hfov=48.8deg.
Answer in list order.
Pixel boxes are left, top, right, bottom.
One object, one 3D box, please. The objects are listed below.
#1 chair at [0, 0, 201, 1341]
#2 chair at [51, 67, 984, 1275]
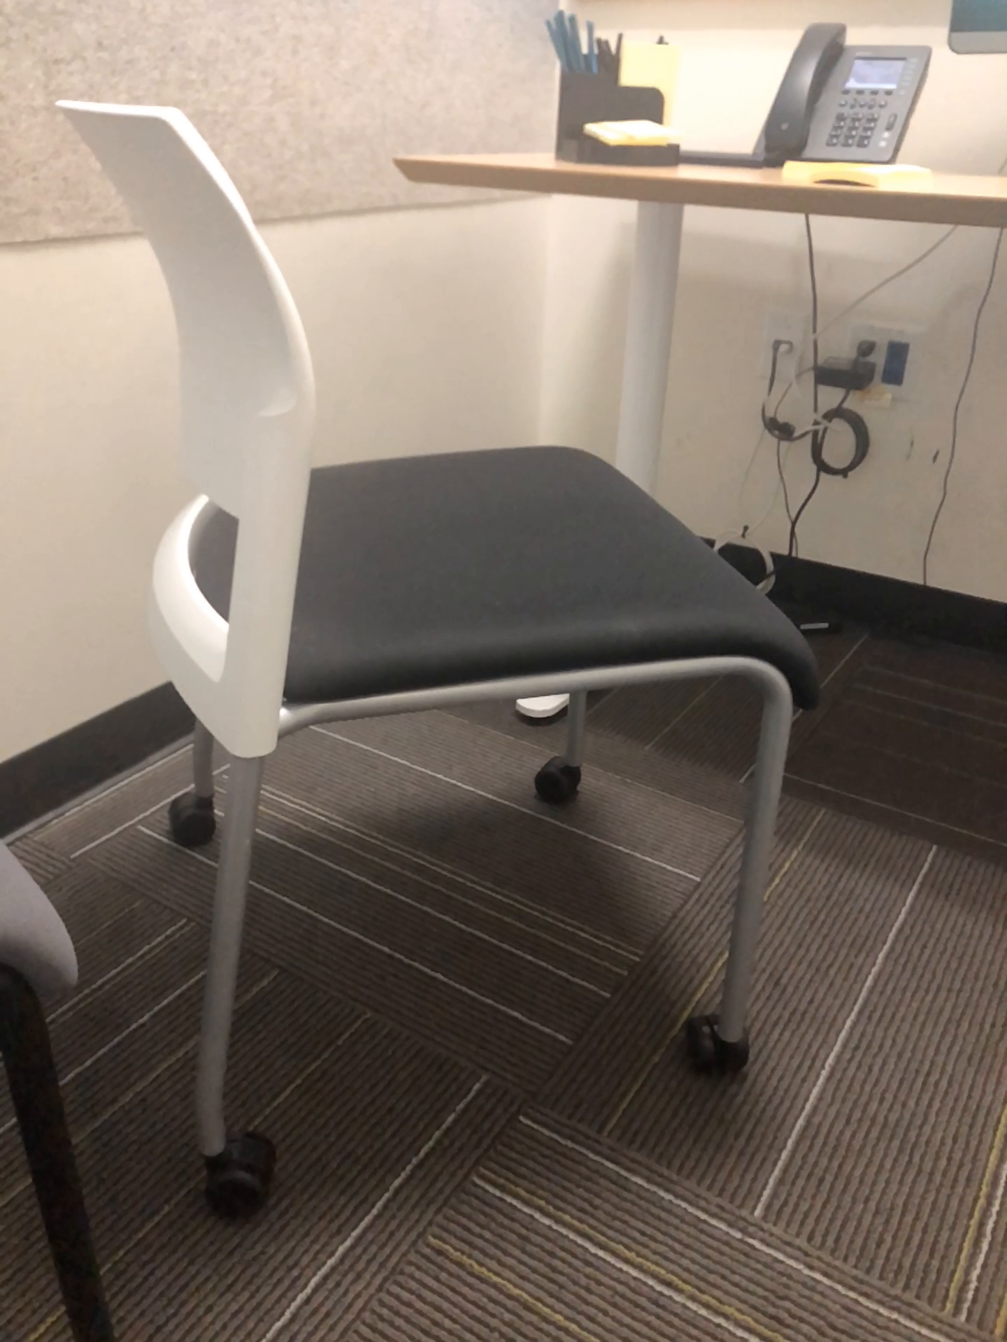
[{"bbox_3d":[-0.667,0.150,0.667,0.653,0.933,0.702,-16,31,-38],"label":"chair"},{"bbox_3d":[-0.104,-0.067,1.217,0.651,0.963,0.704,-4,26,-21],"label":"chair"}]
